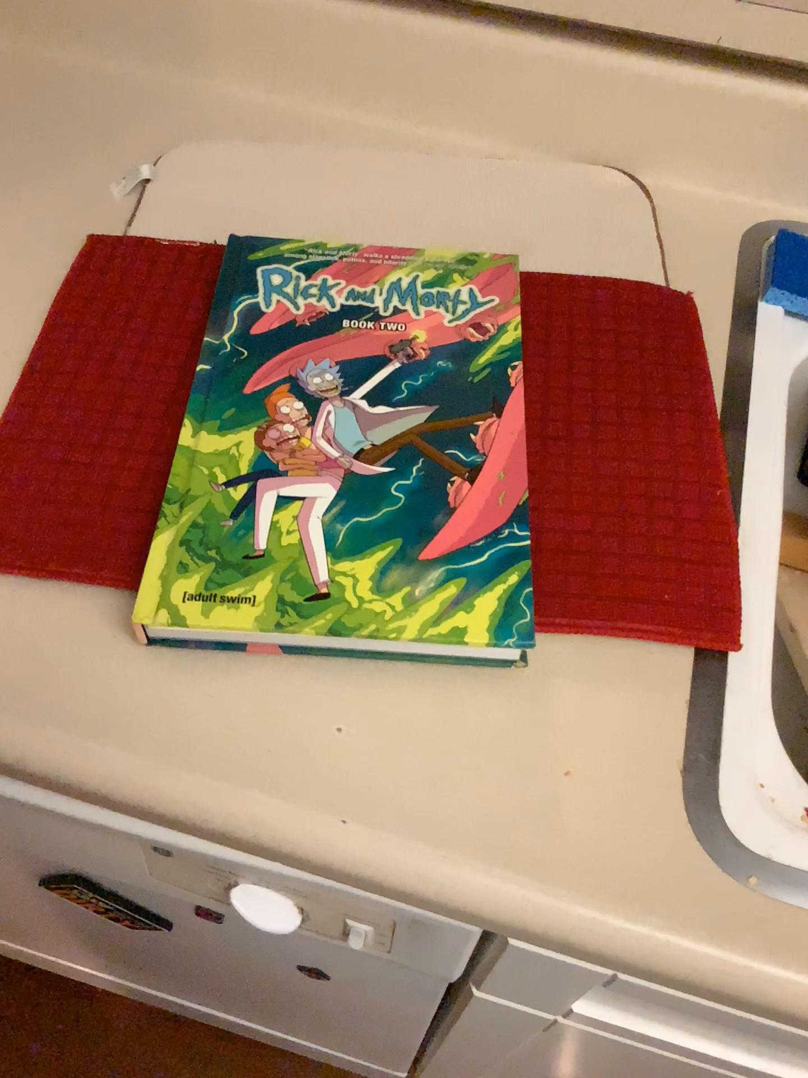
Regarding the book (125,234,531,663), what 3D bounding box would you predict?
[{"bbox_3d":[-0.031,-0.072,0.542,0.200,0.030,0.300,4,54,-1],"label":"book"}]
